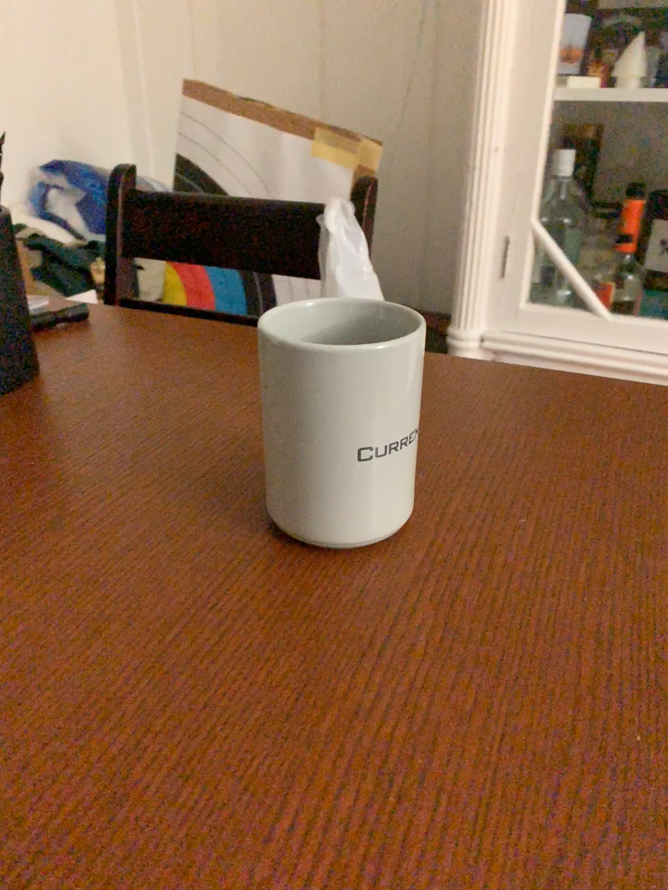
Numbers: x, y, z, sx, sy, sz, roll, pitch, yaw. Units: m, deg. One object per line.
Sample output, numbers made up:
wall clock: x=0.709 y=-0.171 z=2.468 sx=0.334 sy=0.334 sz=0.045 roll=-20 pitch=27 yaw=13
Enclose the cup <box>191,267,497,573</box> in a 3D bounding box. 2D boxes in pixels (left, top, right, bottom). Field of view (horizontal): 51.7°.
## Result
cup: x=0.011 y=-0.026 z=0.387 sx=0.100 sy=0.109 sz=0.140 roll=17 pitch=31 yaw=30
